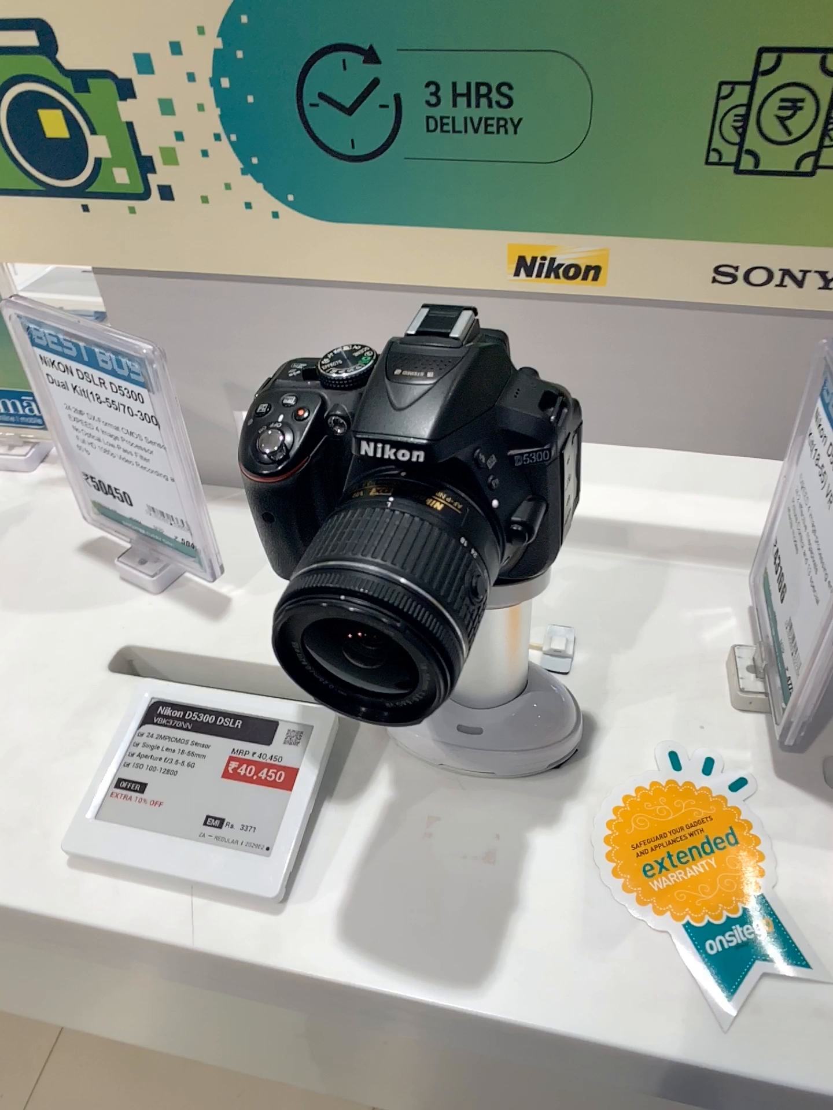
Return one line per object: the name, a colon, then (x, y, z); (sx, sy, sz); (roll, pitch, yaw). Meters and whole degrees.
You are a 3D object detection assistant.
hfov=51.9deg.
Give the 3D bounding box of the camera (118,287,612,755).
camera: (-0.004, -0.019, 0.282); (0.118, 0.082, 0.123); (7, 43, 12)
